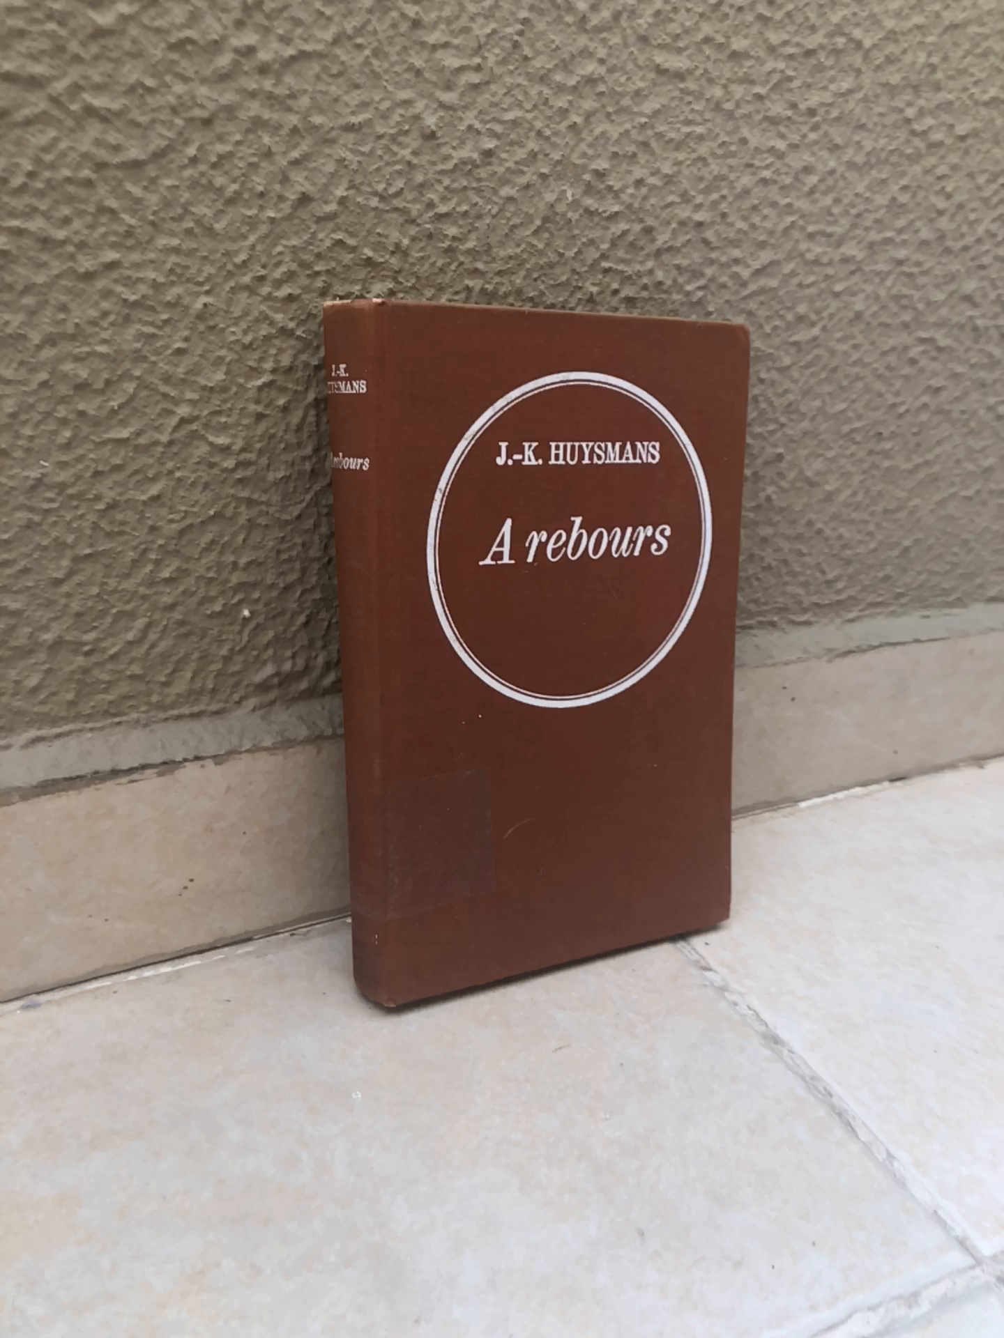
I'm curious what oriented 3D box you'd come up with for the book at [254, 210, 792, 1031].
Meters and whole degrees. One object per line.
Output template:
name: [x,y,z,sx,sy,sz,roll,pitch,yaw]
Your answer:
book: [0.013,-0.017,0.331,0.150,0.209,0.040,-7,12,-26]
